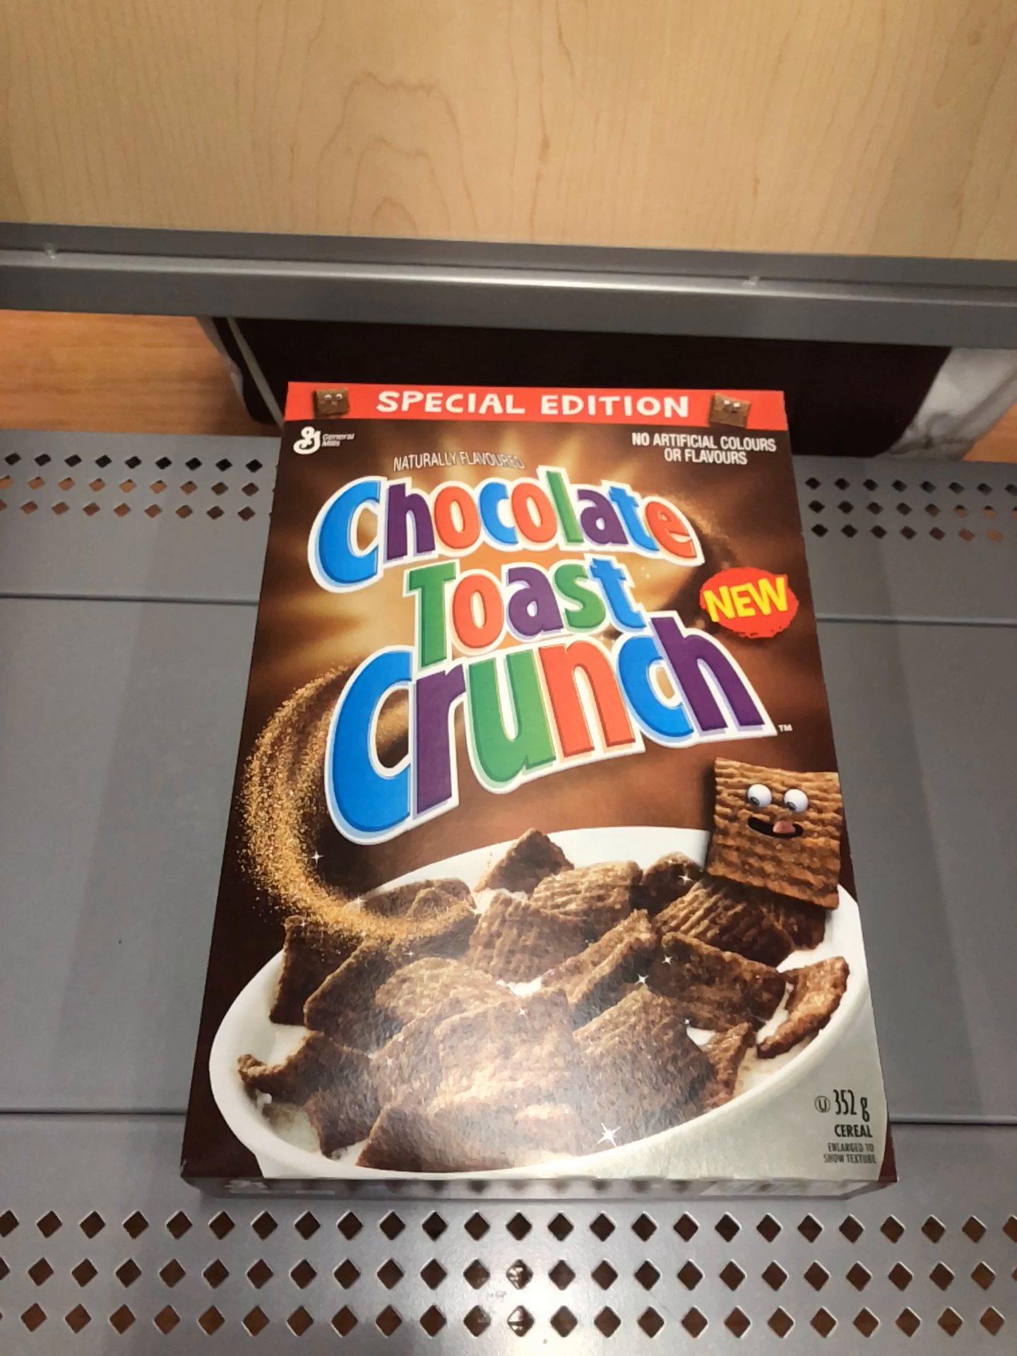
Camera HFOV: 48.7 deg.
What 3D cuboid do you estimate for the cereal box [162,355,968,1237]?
[{"bbox_3d":[0.015,0.028,0.392,0.200,0.090,0.291,1,59,-1],"label":"cereal box"}]
